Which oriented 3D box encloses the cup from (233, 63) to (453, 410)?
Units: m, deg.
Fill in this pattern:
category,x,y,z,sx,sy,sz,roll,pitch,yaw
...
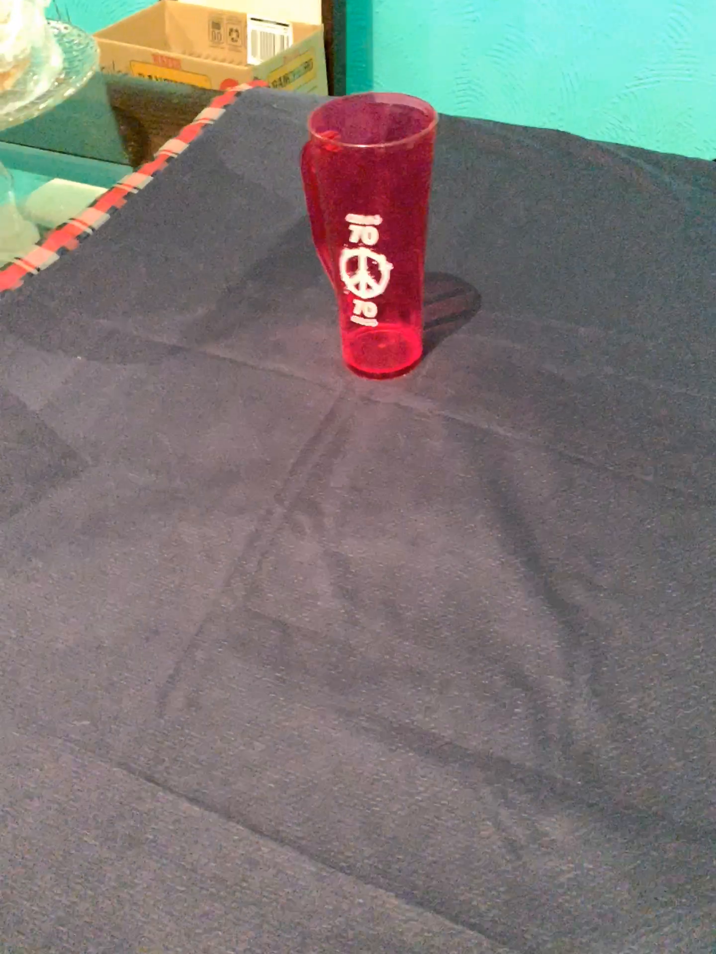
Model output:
category,x,y,z,sx,sy,sz,roll,pitch,yaw
cup,-0.006,-0.145,0.460,0.070,0.169,0.100,-36,56,-25
